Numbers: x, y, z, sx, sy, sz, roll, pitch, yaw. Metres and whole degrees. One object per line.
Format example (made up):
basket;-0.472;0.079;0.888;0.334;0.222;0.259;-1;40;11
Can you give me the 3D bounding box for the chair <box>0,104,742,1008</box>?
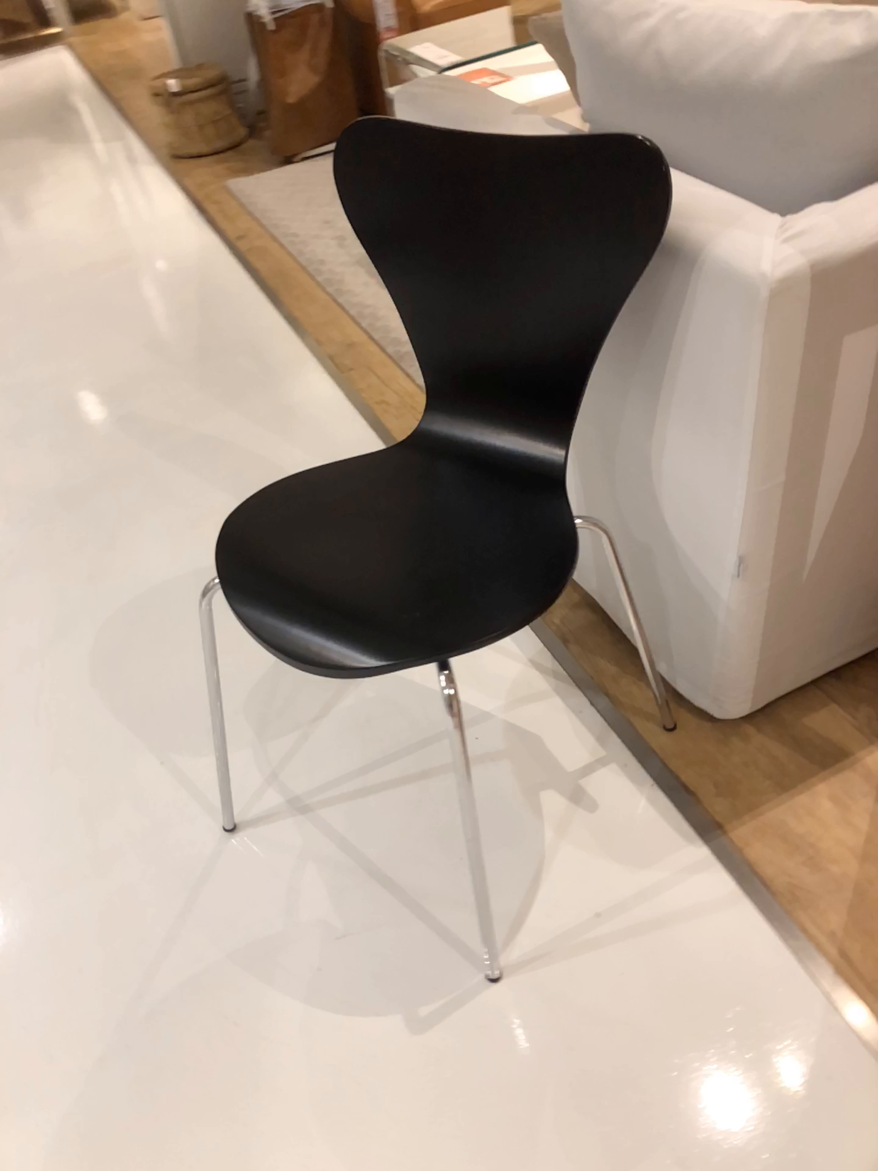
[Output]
chair;-0.035;-0.052;1.137;0.542;0.774;0.553;19;49;29
